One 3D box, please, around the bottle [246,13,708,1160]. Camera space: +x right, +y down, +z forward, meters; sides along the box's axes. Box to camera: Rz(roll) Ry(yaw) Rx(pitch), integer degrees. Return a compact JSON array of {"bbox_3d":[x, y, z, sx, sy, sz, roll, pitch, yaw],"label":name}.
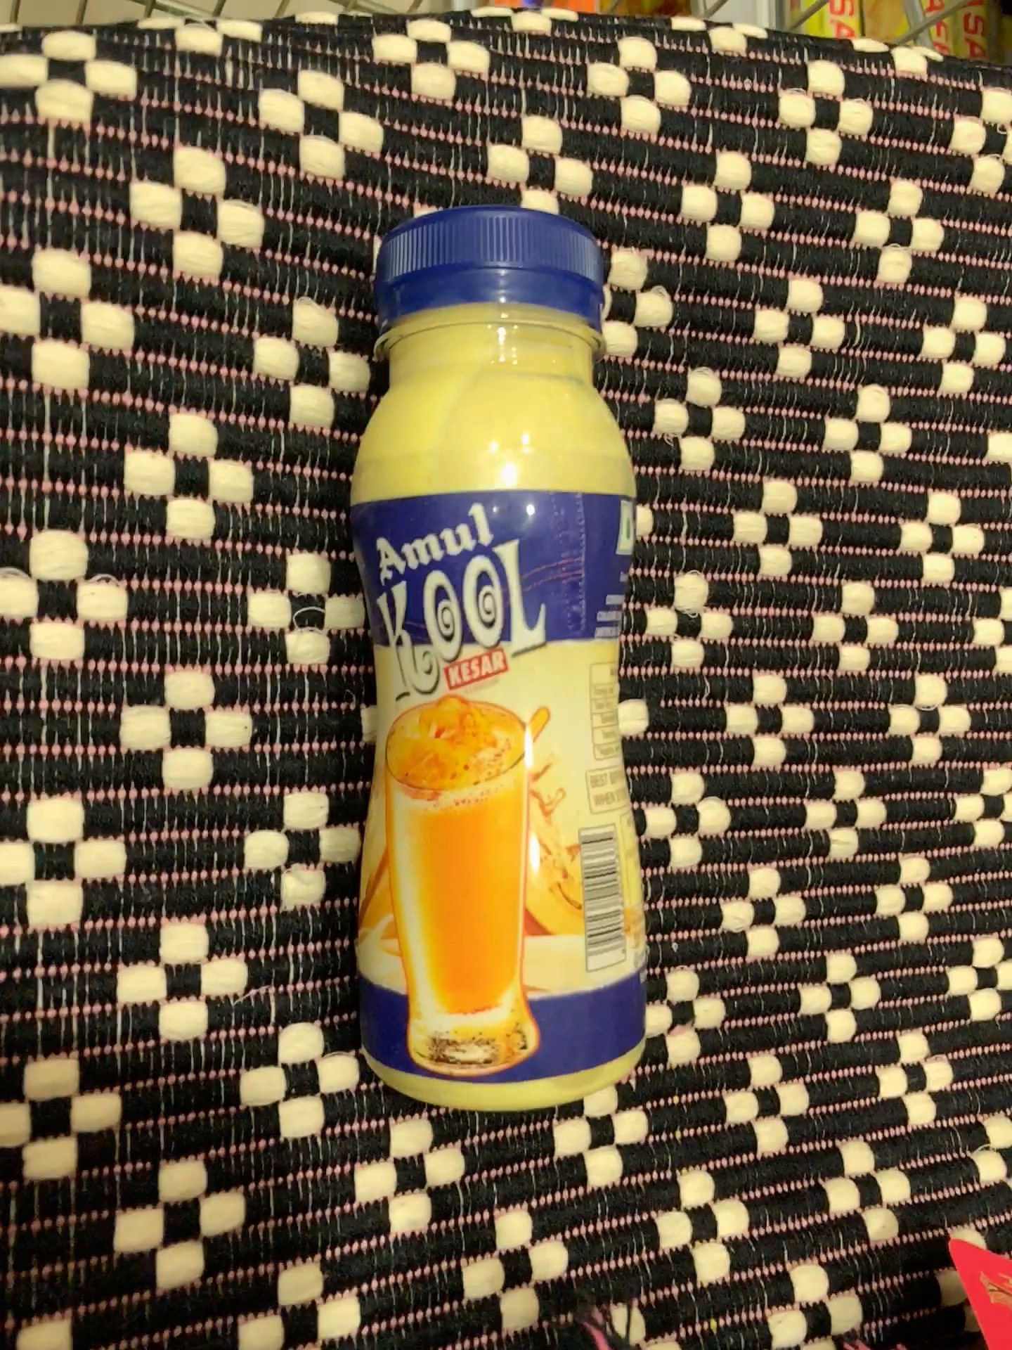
[{"bbox_3d":[-0.002,-0.012,0.185,0.060,0.060,0.160,3,86,-67],"label":"bottle"}]
